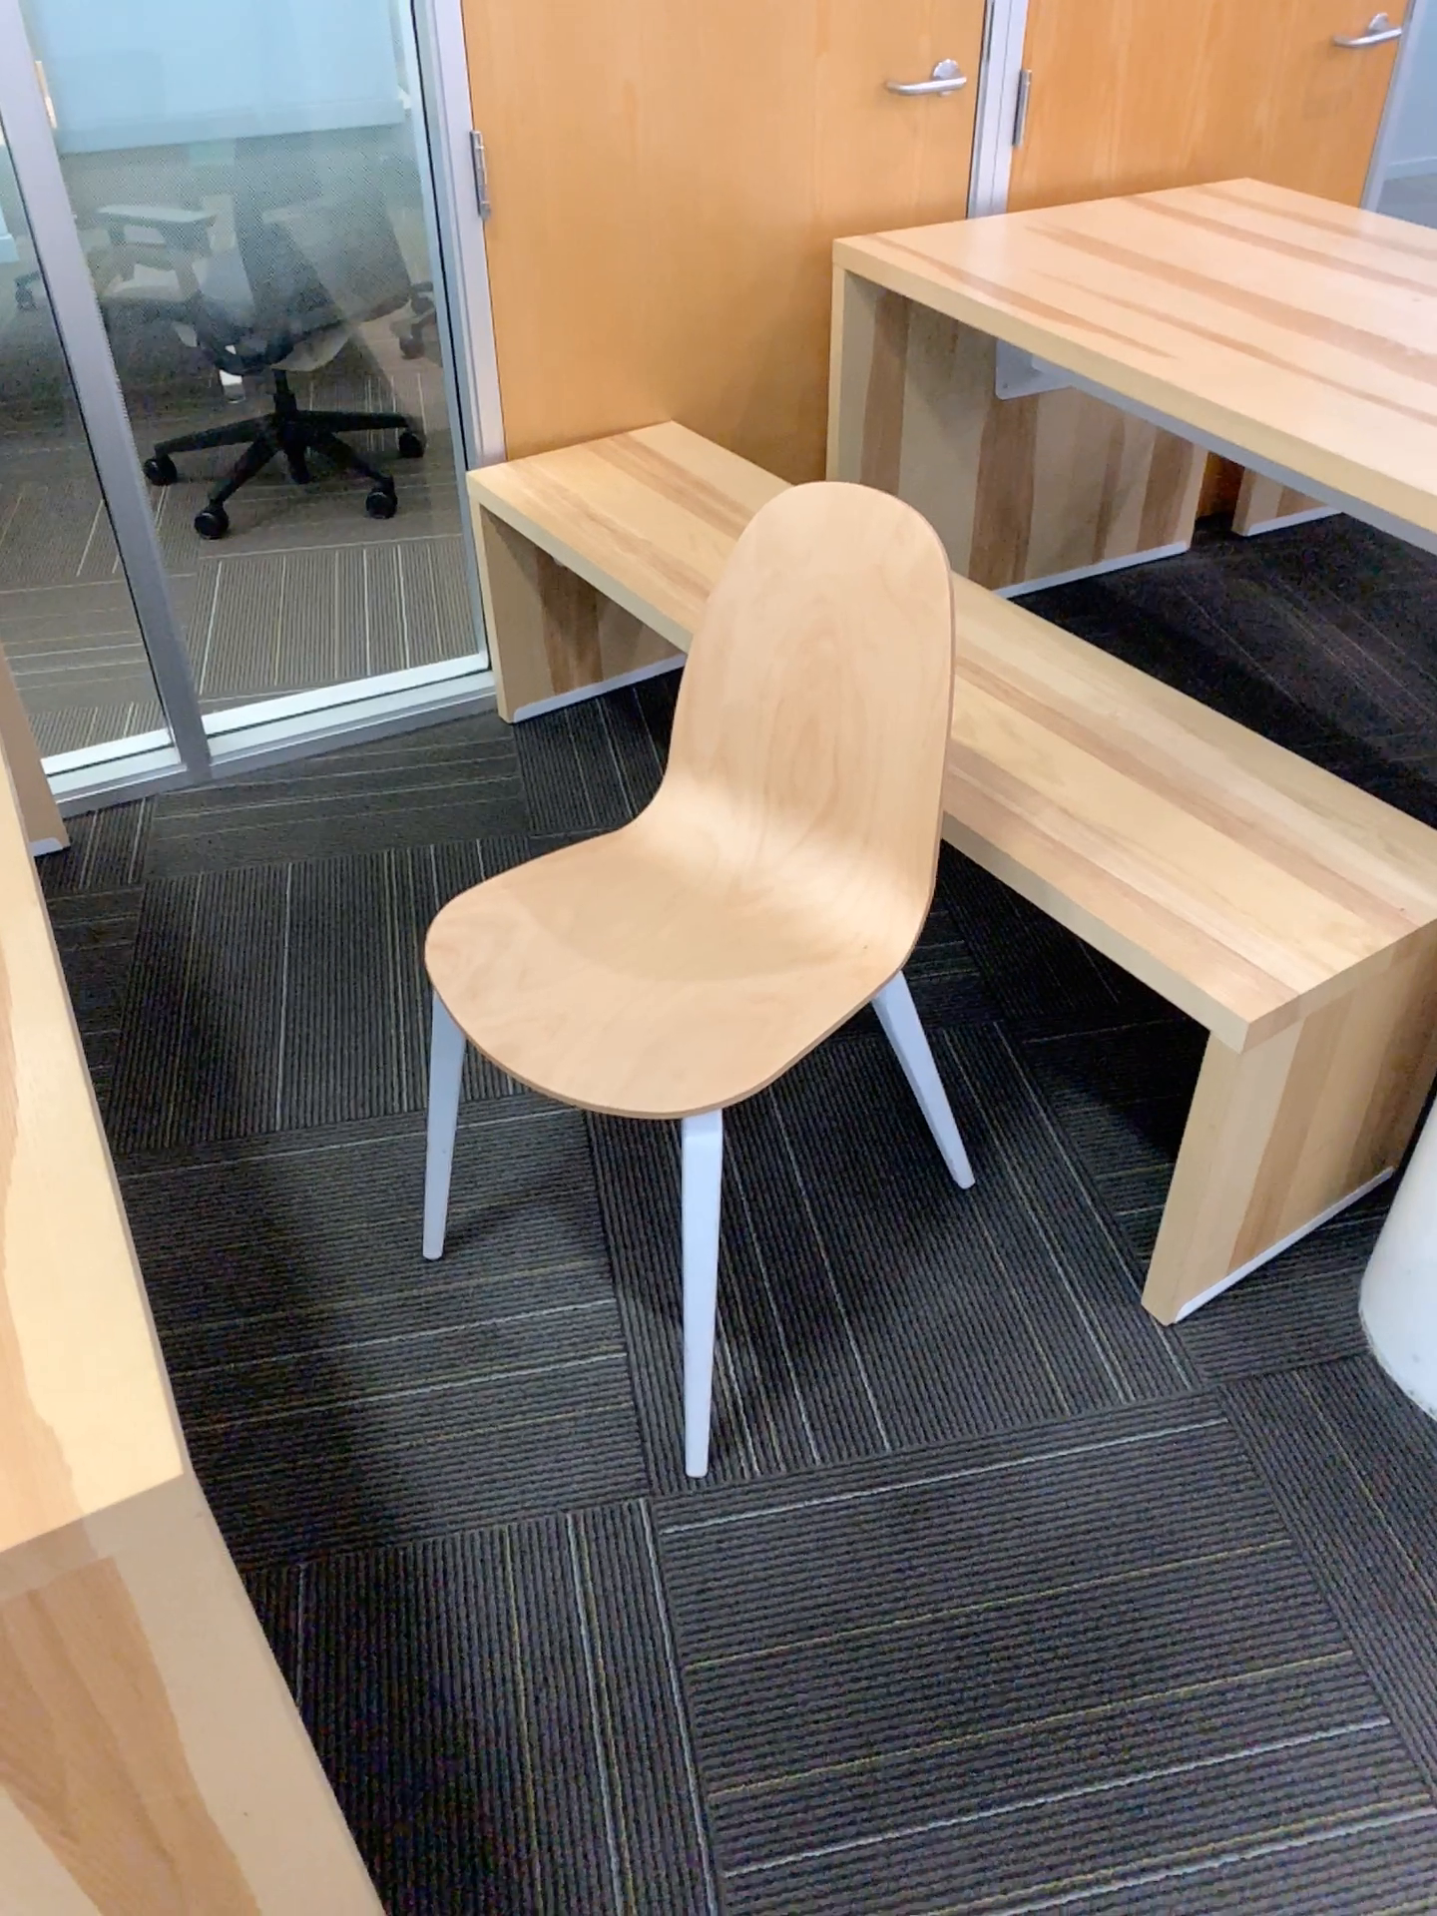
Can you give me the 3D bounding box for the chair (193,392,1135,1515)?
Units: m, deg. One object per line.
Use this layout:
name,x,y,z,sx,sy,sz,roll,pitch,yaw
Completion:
chair,-0.032,-0.025,1.516,0.542,0.835,0.601,30,48,33
